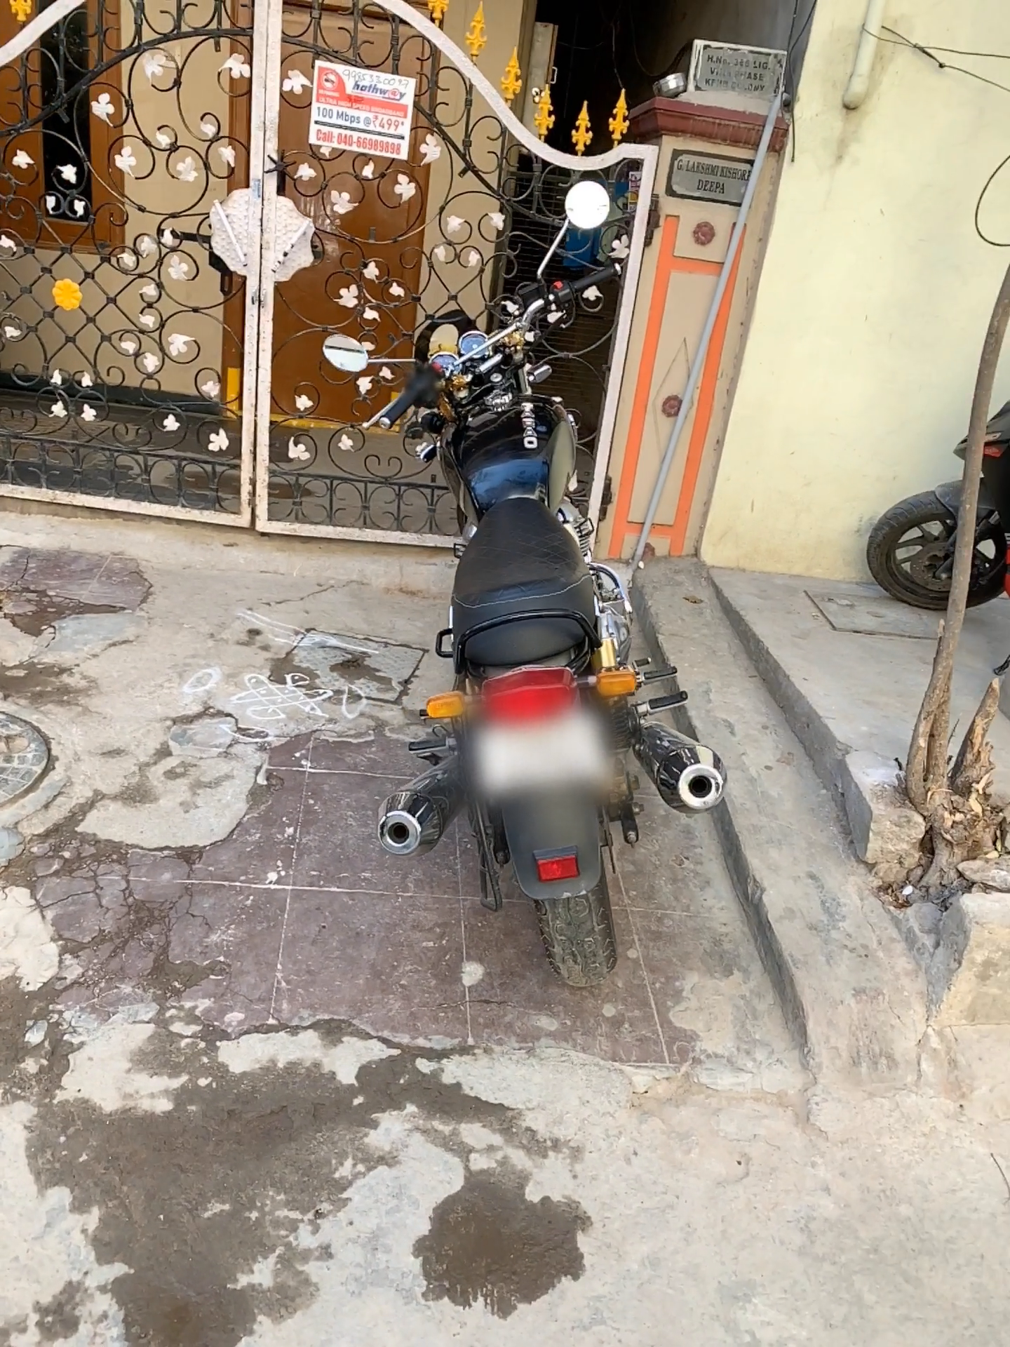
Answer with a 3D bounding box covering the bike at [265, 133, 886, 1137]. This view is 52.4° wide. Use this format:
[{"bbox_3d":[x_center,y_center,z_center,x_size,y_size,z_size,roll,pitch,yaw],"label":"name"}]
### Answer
[{"bbox_3d":[-0.108,-0.315,2.468,0.791,1.522,1.912,3,28,-11],"label":"bike"}]
